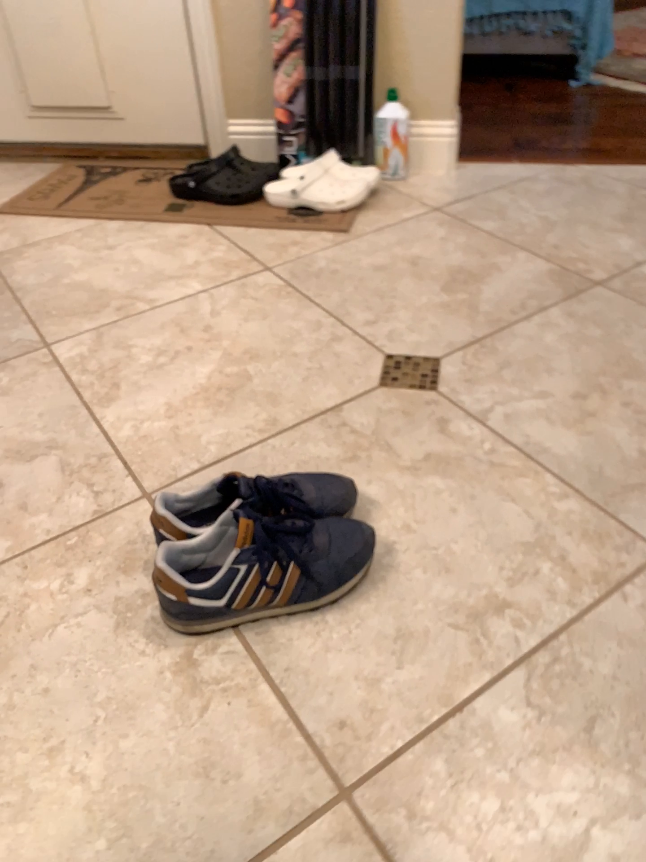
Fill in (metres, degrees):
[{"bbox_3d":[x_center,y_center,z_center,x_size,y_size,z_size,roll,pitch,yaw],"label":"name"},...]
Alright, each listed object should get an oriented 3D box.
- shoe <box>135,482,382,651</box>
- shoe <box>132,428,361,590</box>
[{"bbox_3d":[-0.078,0.164,0.829,0.282,0.102,0.107,-11,41,-9],"label":"shoe"},{"bbox_3d":[-0.100,0.101,0.908,0.282,0.102,0.112,-14,41,-12],"label":"shoe"}]
